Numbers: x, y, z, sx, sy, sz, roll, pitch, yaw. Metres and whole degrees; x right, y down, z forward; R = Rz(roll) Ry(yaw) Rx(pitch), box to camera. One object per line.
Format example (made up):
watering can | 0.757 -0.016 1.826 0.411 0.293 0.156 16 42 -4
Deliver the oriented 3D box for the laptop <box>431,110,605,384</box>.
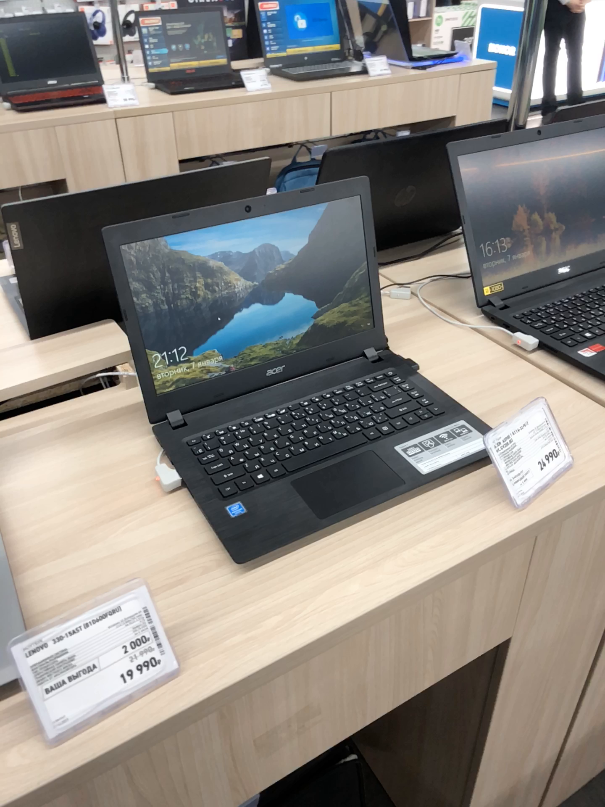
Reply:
laptop | 0.472 -0.263 0.987 0.379 0.216 0.377 -20 39 -24

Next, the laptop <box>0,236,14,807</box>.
laptop | -0.459 0.080 0.506 0.363 0.236 0.339 -18 38 -23

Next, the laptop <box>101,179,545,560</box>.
laptop | 0.011 -0.070 0.736 0.343 0.223 0.302 -19 38 -24
